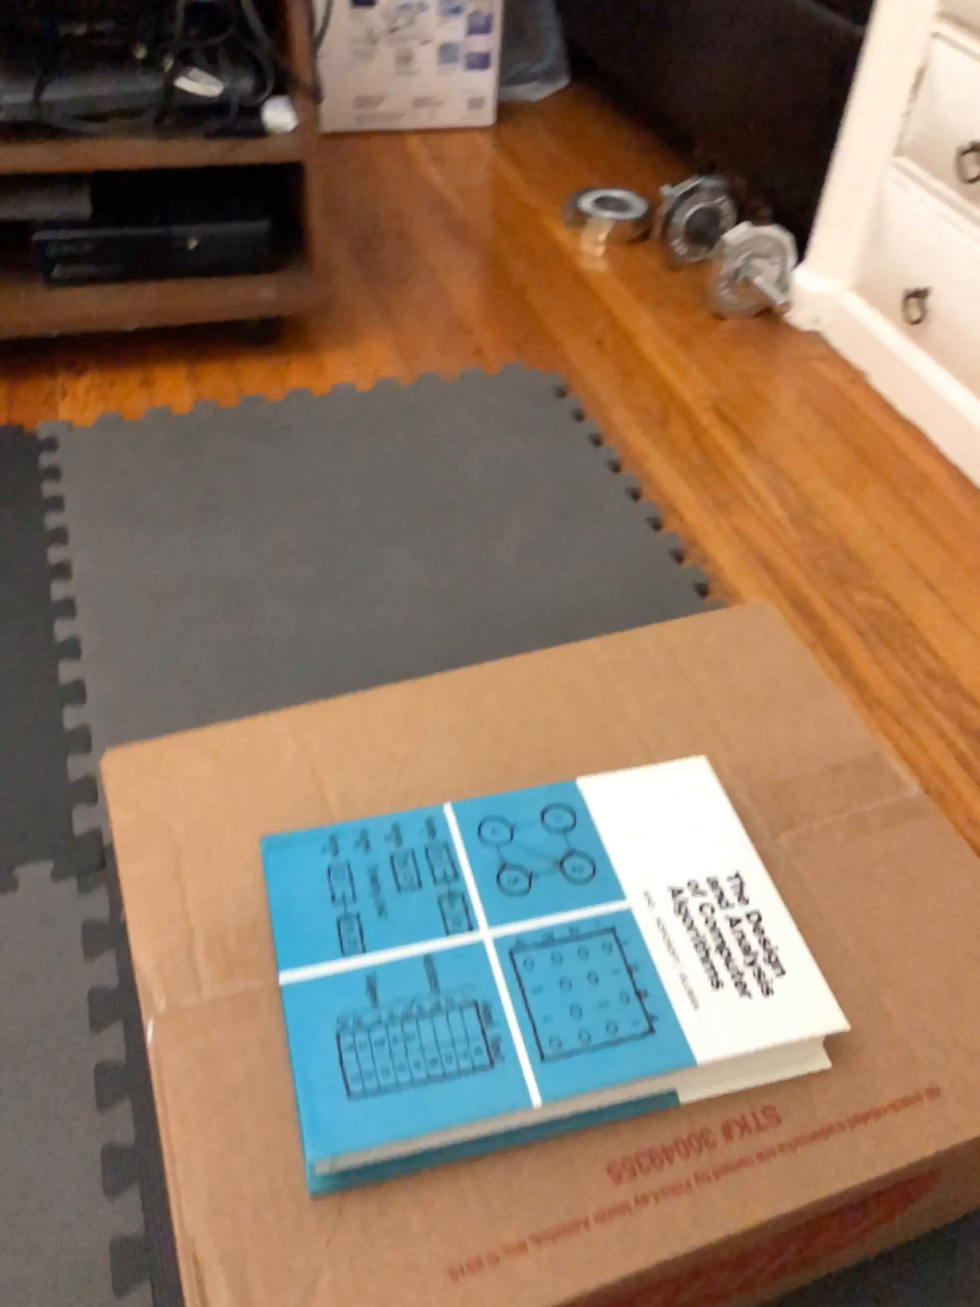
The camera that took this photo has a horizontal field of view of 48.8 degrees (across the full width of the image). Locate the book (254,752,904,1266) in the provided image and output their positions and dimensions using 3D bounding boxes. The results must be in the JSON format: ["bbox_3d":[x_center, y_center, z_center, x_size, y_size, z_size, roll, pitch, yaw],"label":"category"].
[{"bbox_3d":[0.029,0.152,0.520,0.260,0.040,0.191,-8,46,-12],"label":"book"}]
